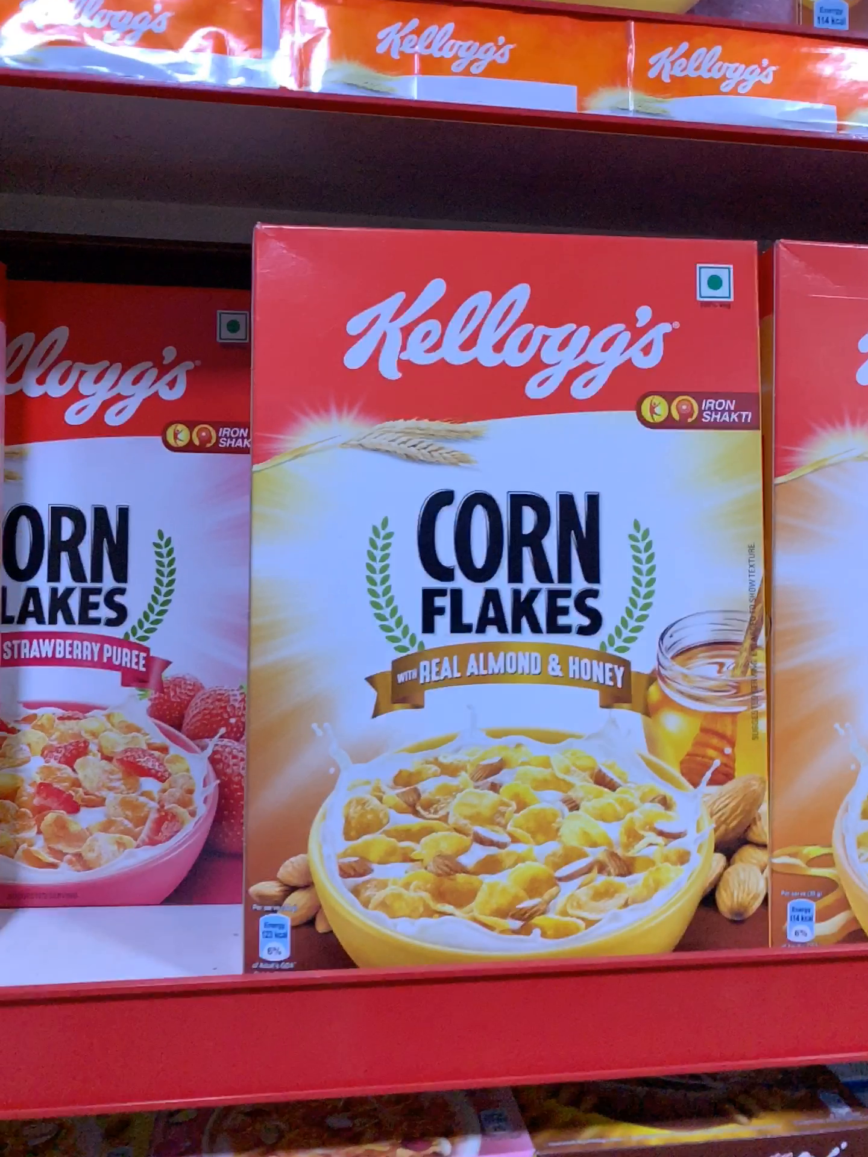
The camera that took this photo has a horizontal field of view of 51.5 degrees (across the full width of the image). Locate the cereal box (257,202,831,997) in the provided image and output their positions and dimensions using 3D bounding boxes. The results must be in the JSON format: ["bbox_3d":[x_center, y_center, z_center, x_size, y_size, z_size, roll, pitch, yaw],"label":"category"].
[{"bbox_3d":[0.032,0.005,0.296,0.170,0.230,0.060,0,0,-4],"label":"cereal box"}]
